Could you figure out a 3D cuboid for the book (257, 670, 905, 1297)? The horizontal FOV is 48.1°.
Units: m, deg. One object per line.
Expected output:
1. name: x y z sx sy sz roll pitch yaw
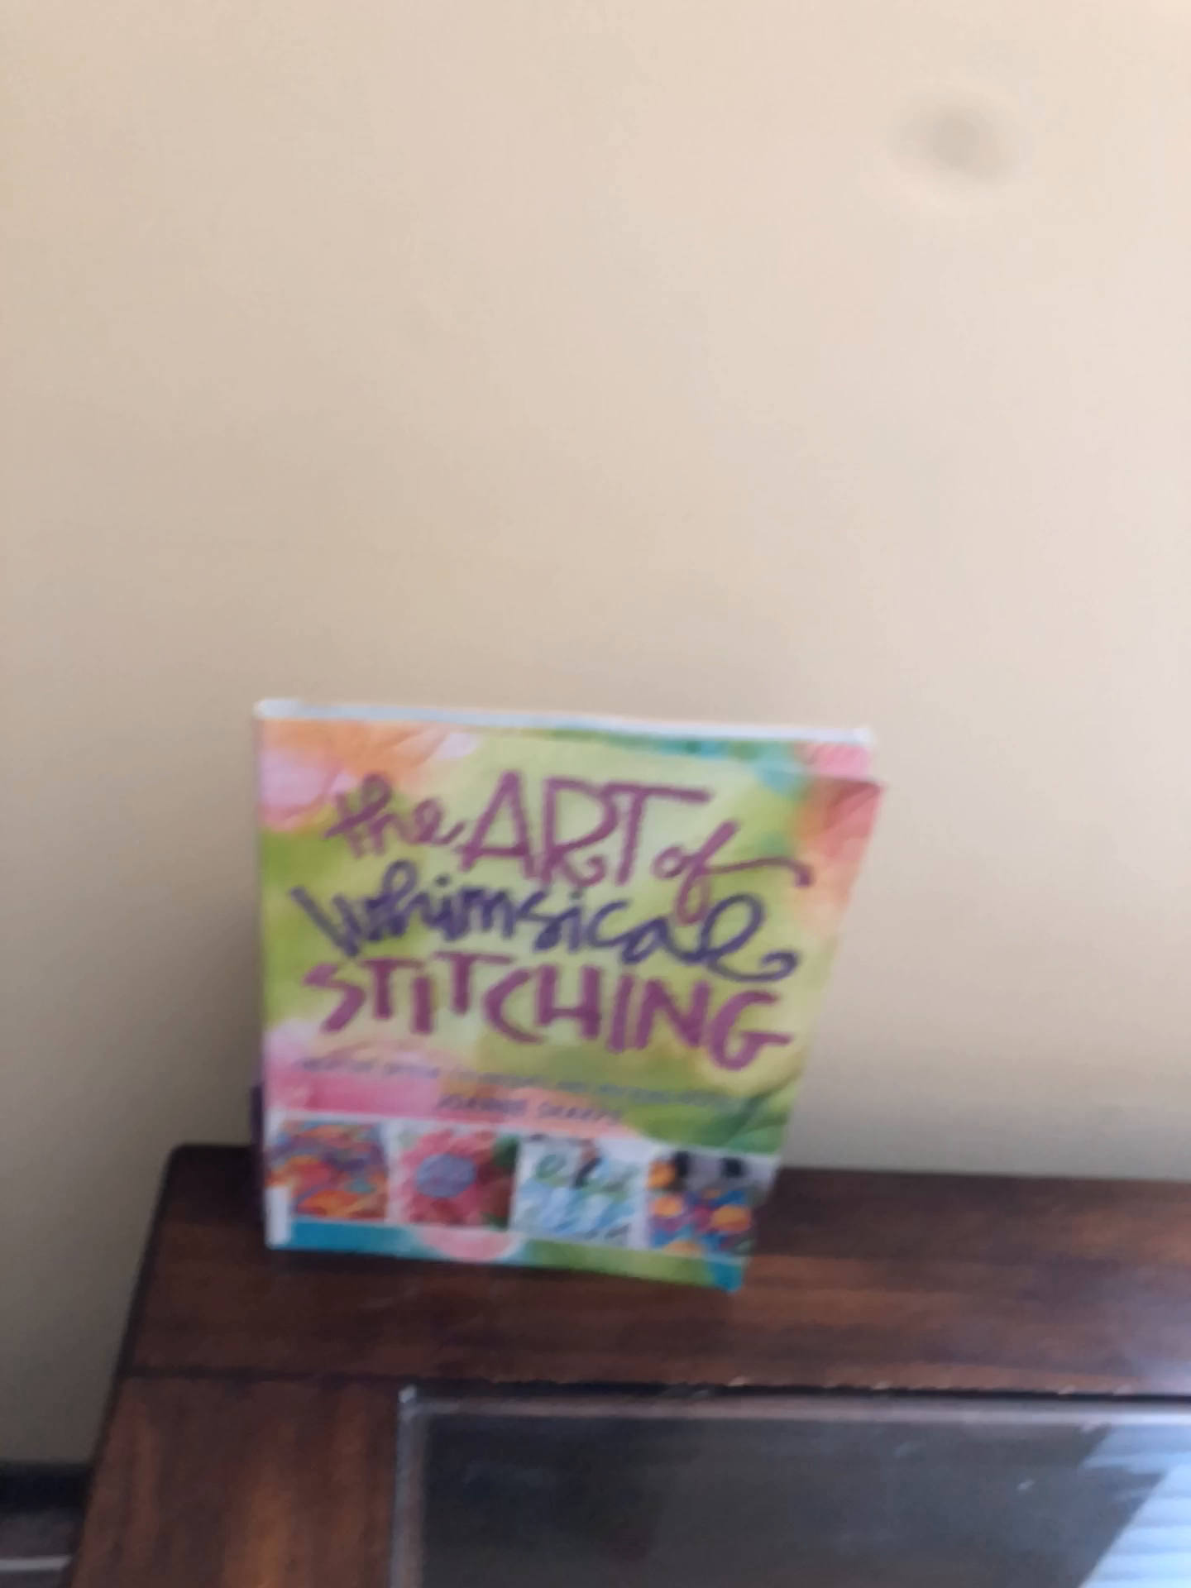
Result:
1. book: -0.019 0.088 0.518 0.214 0.263 0.029 6 31 -3
